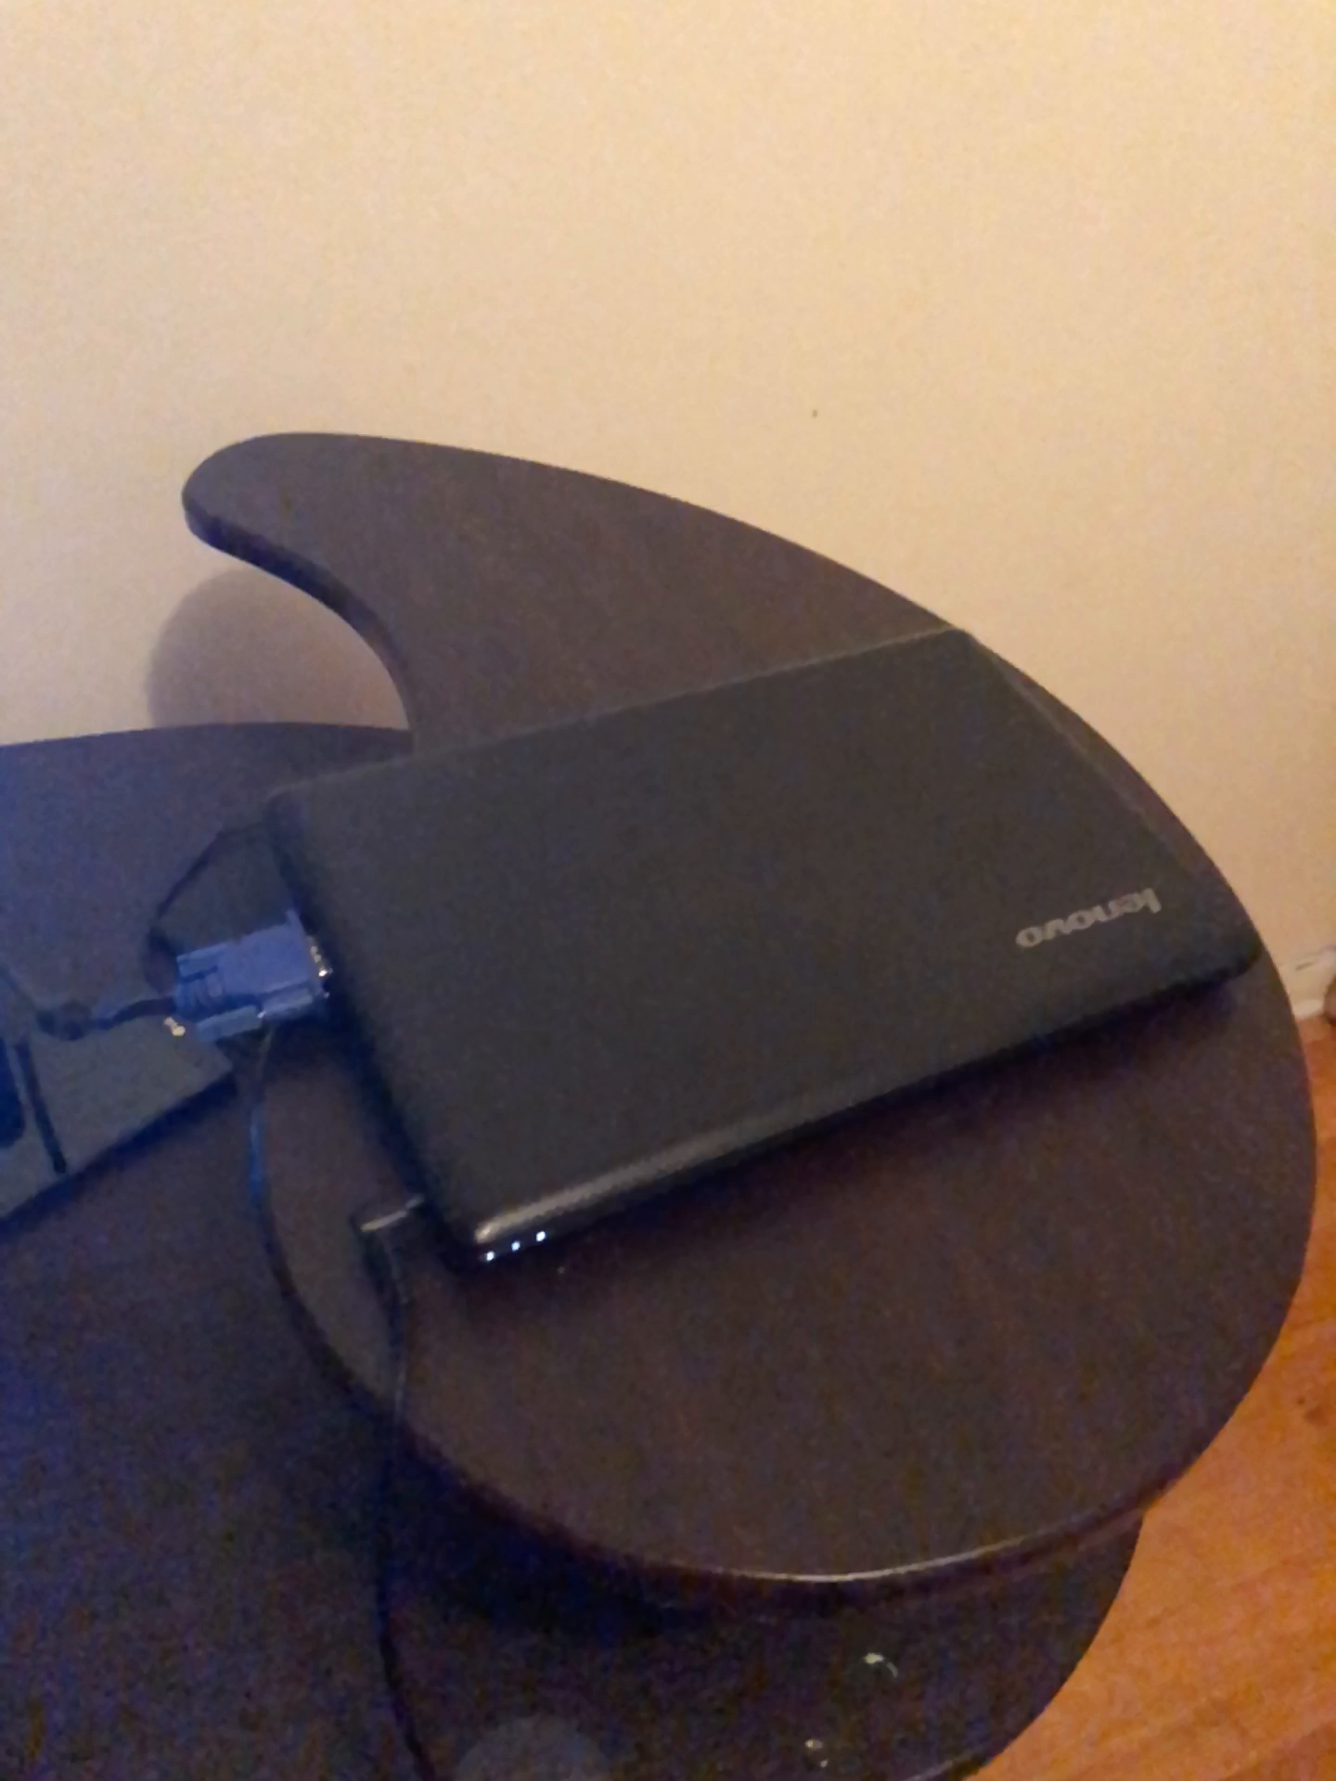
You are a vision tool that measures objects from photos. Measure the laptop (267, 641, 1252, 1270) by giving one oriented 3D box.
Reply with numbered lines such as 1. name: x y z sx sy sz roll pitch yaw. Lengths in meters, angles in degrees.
1. laptop: 0.026 0.000 0.466 0.259 0.008 0.173 -17 49 -20
